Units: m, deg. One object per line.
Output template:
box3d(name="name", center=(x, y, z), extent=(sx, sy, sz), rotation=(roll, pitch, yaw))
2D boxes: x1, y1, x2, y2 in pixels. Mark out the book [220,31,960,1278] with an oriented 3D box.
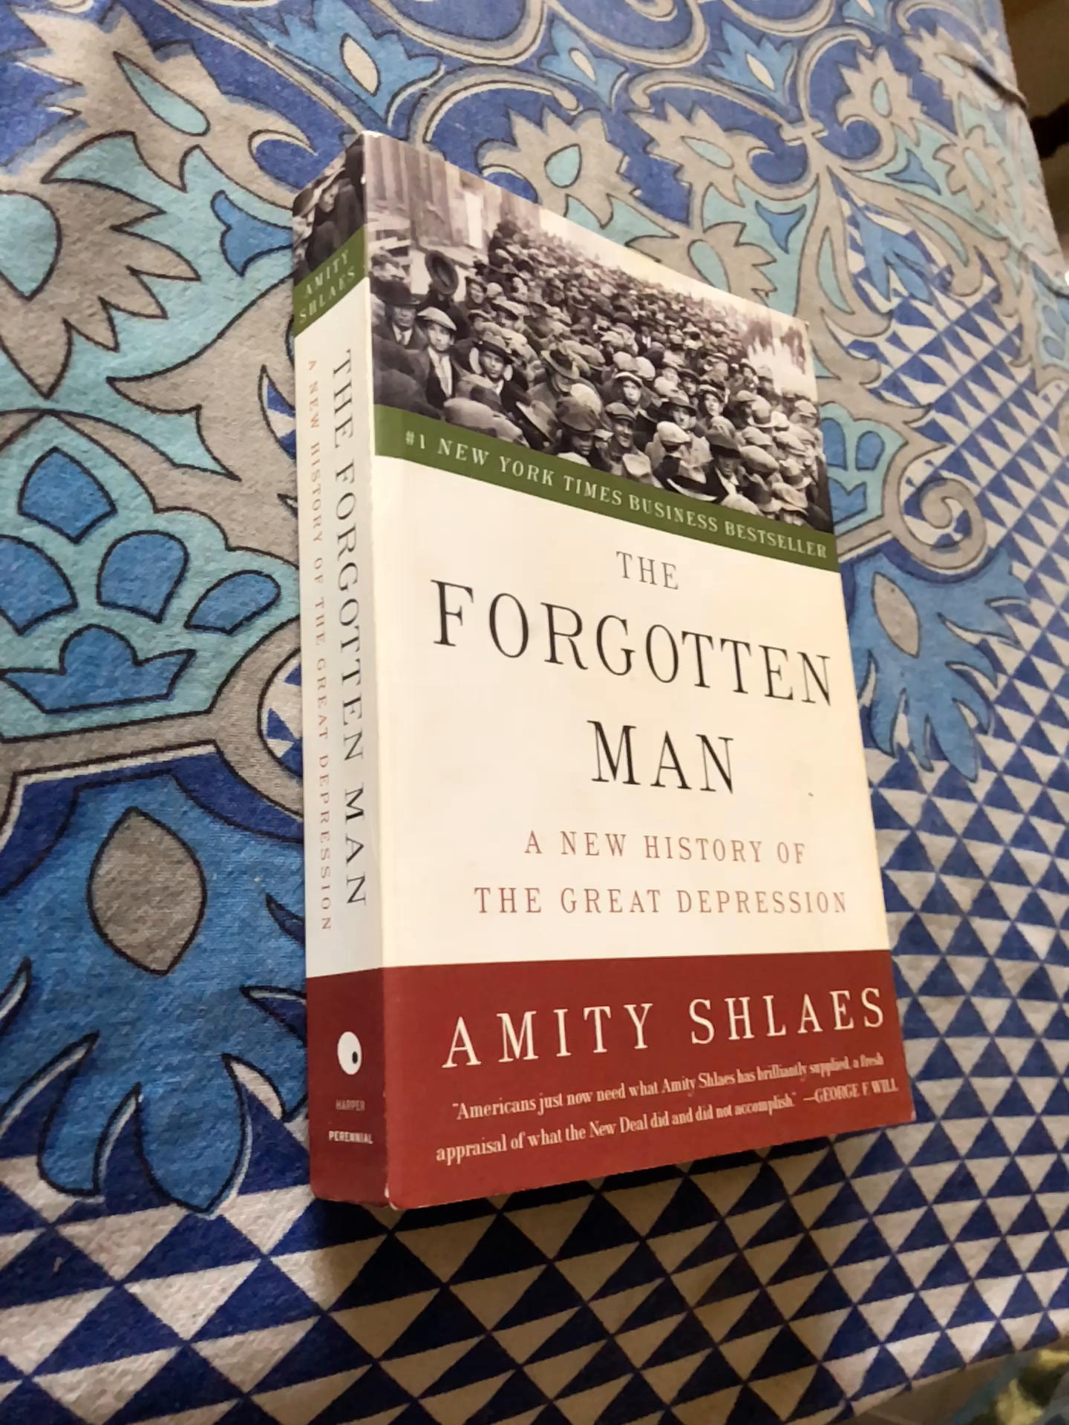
box3d(name="book", center=(0.013, -0.010, 0.248), extent=(0.141, 0.050, 0.200), rotation=(5, 76, -39))
